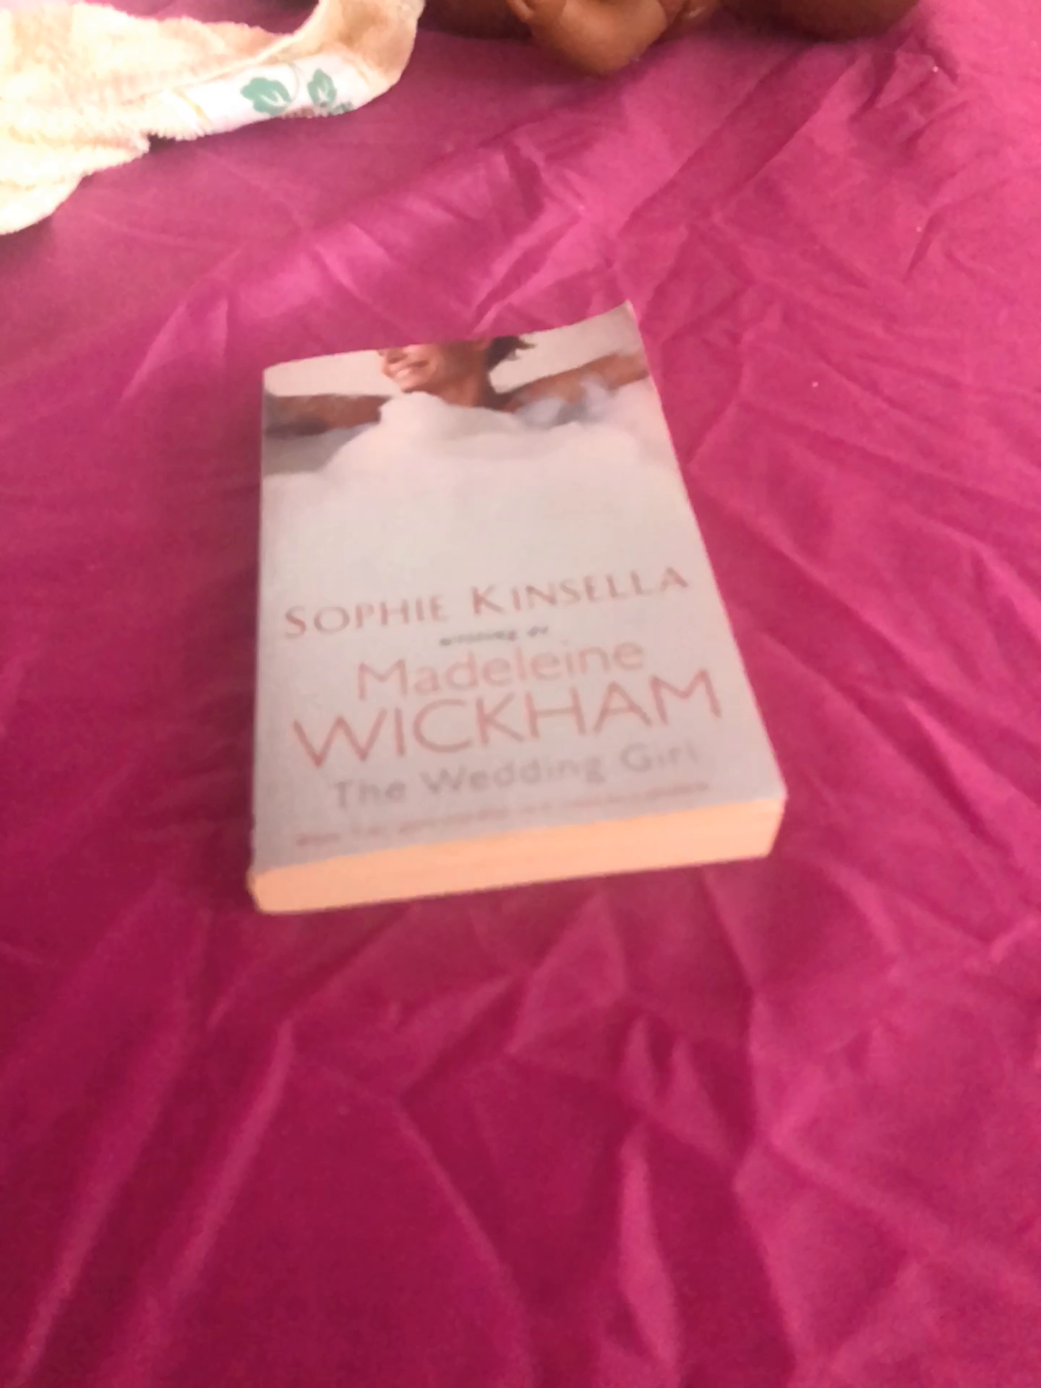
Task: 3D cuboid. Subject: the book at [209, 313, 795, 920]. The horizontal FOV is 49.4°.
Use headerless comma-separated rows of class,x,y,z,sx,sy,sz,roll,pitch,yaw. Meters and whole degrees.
book,-0.014,-0.038,0.333,0.135,0.027,0.202,-6,51,-3
